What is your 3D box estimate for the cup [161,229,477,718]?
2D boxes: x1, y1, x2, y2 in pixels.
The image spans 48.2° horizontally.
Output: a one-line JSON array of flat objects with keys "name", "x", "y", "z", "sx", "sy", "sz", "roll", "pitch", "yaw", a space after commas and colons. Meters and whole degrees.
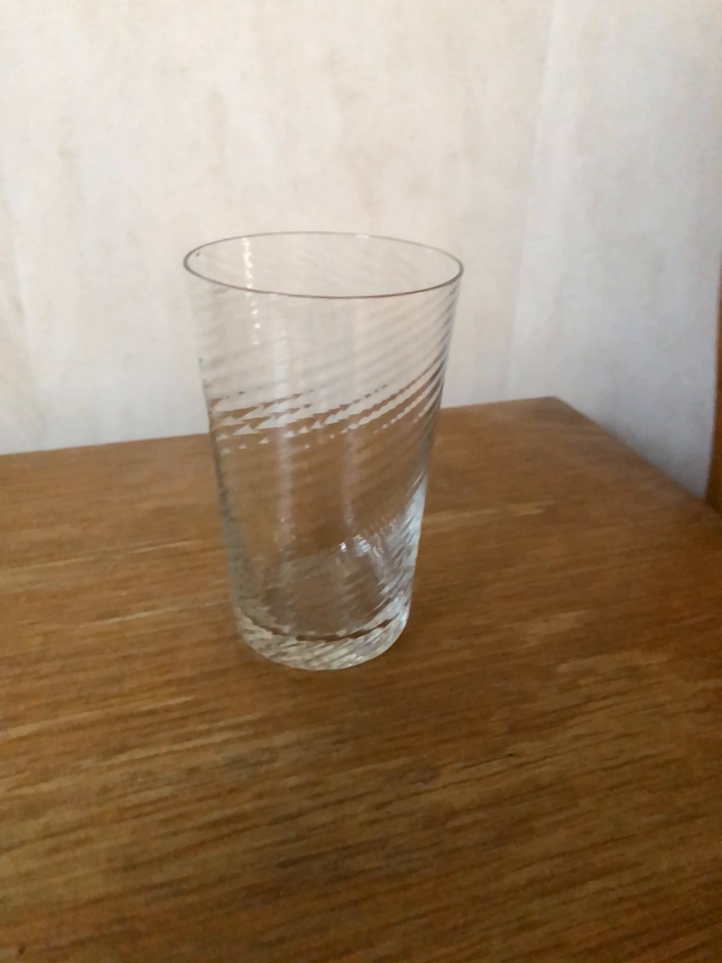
[{"name": "cup", "x": -0.011, "y": -0.005, "z": 0.240, "sx": 0.070, "sy": 0.119, "sz": 0.080, "roll": 2, "pitch": 26, "yaw": 0}]
